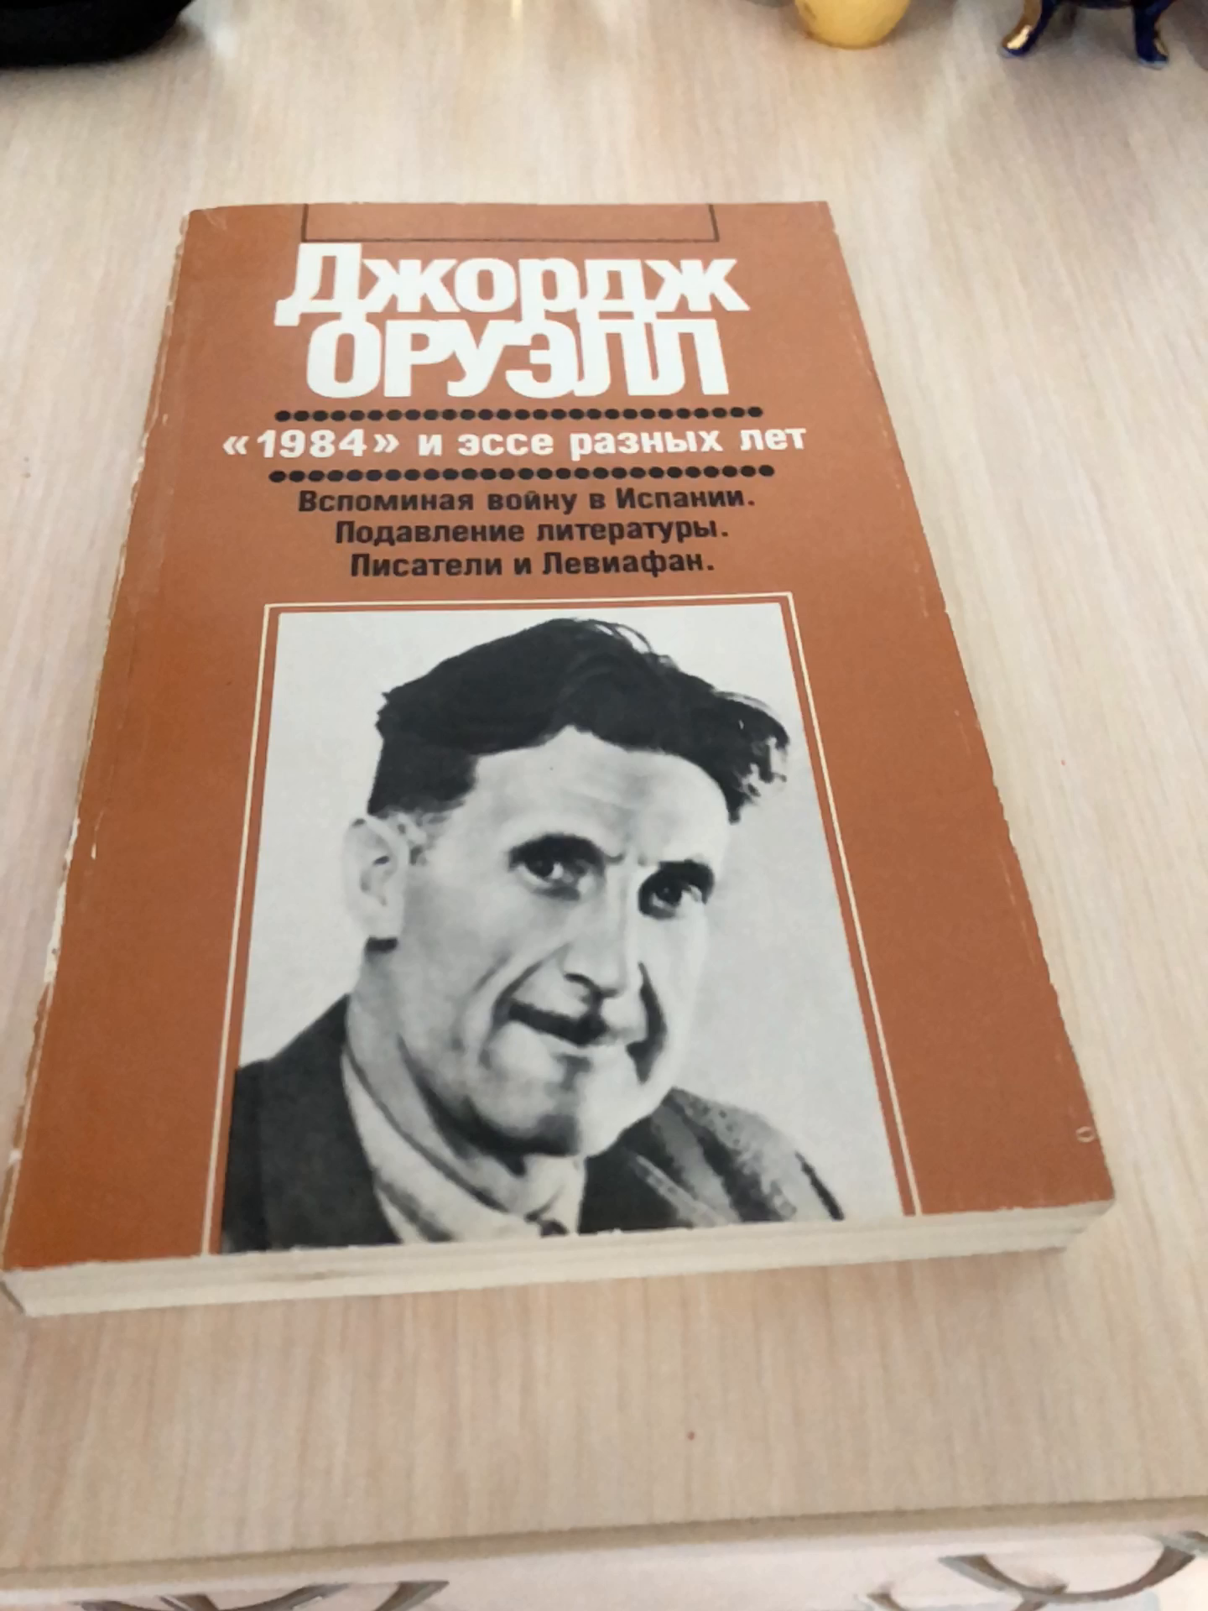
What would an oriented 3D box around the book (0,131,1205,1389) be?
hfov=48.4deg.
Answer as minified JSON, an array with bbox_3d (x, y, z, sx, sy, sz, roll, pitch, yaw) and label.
[{"bbox_3d":[-0.012,-0.030,0.211,0.130,0.040,0.211,-3,55,-4],"label":"book"}]
